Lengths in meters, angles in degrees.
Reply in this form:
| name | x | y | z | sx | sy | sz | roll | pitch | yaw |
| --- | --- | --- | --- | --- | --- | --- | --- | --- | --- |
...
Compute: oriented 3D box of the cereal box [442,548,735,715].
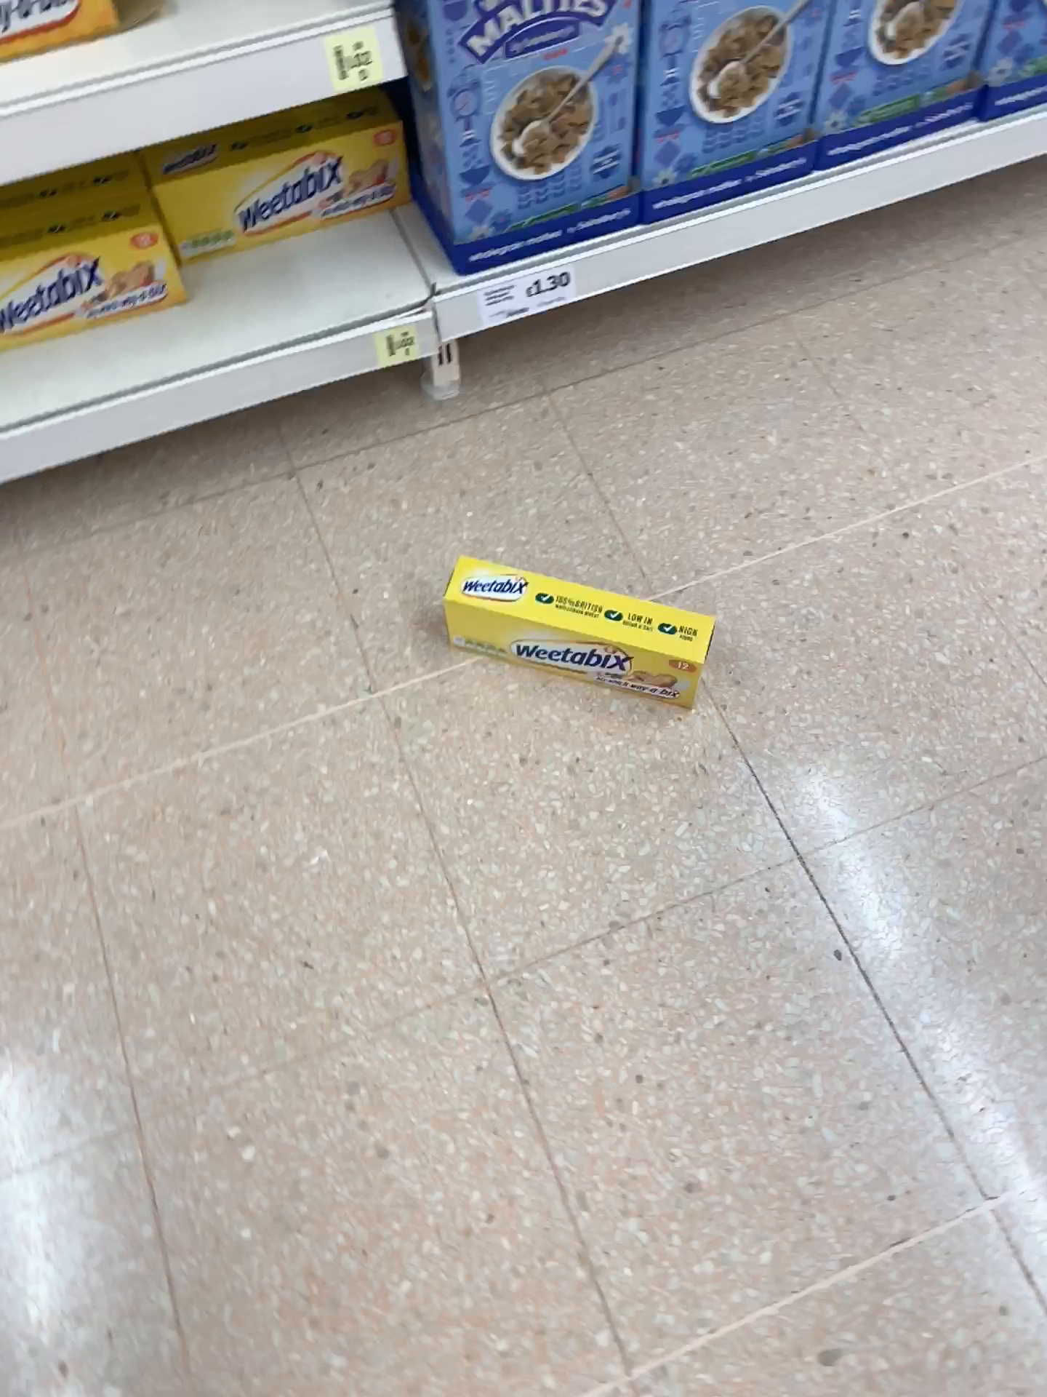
| name | x | y | z | sx | sy | sz | roll | pitch | yaw |
| --- | --- | --- | --- | --- | --- | --- | --- | --- | --- |
| cereal box | 0.059 | -0.062 | 1.004 | 0.260 | 0.099 | 0.050 | 15 | 64 | 10 |
